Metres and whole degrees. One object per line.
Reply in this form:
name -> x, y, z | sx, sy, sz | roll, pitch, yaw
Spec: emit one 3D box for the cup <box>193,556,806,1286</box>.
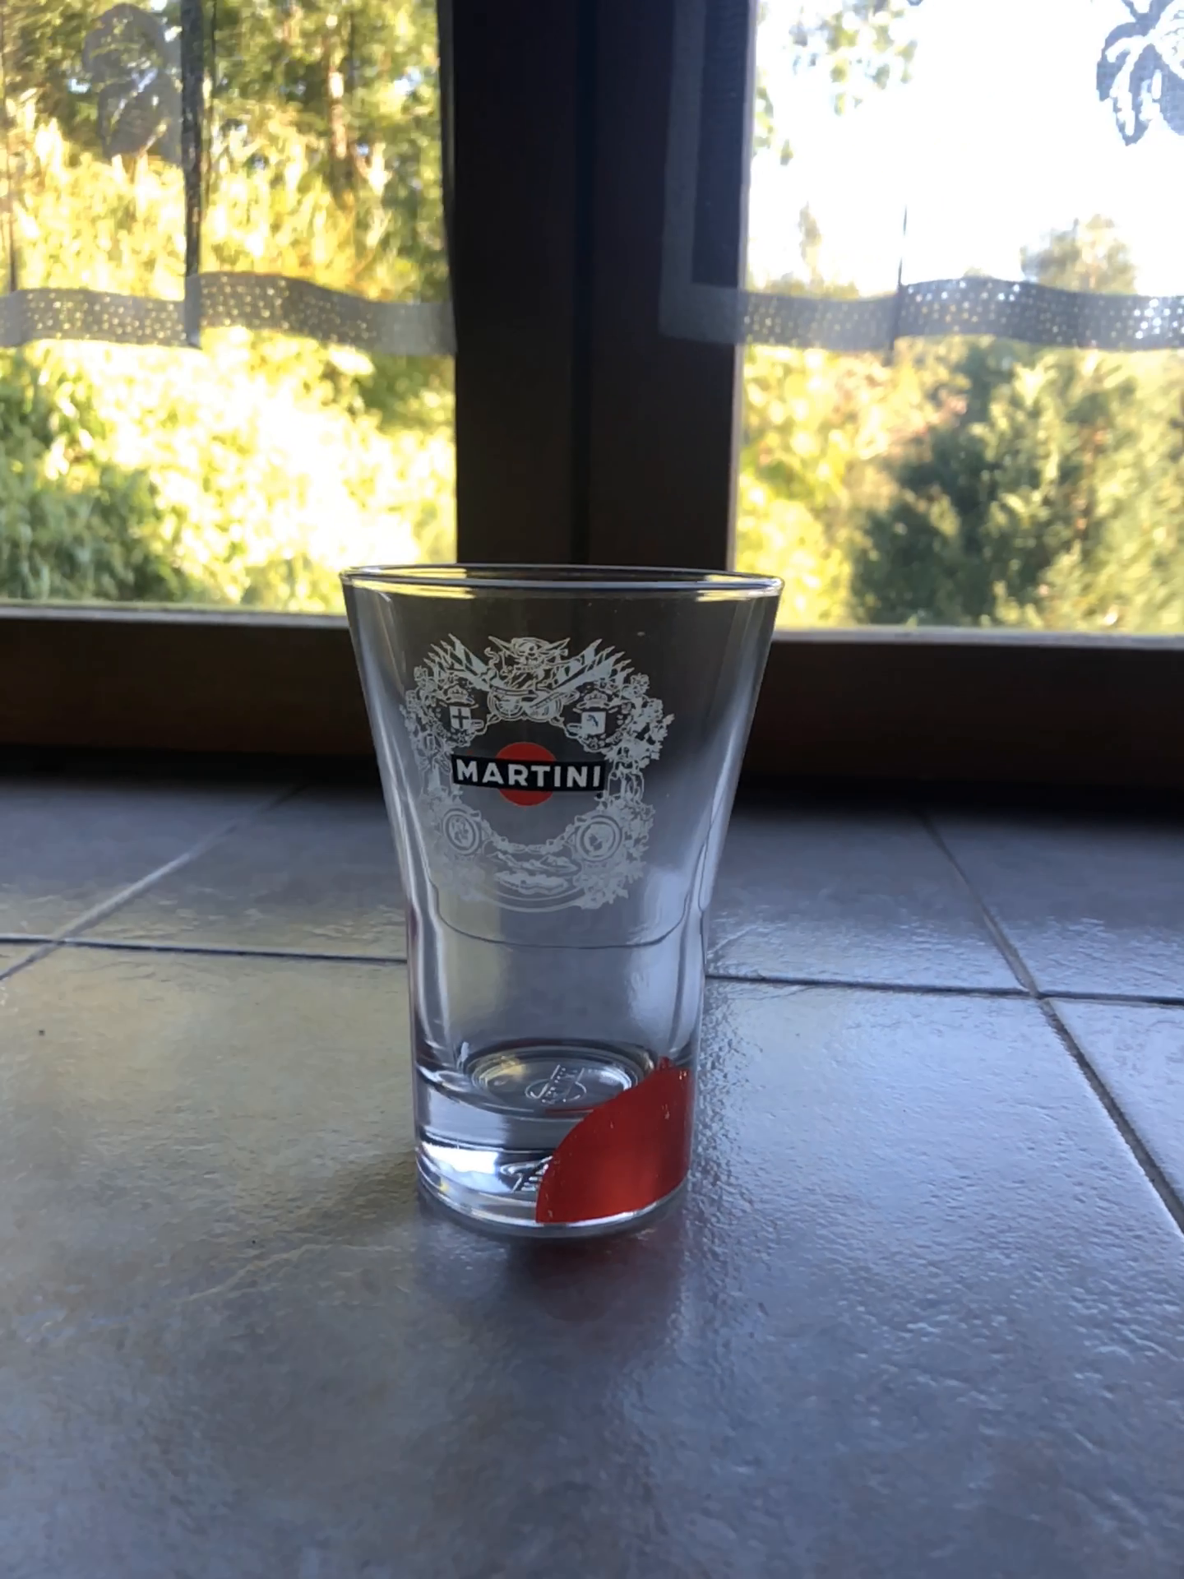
cup -> -0.011, 0.015, 0.267 | 0.095, 0.116, 0.093 | 1, 13, 0
